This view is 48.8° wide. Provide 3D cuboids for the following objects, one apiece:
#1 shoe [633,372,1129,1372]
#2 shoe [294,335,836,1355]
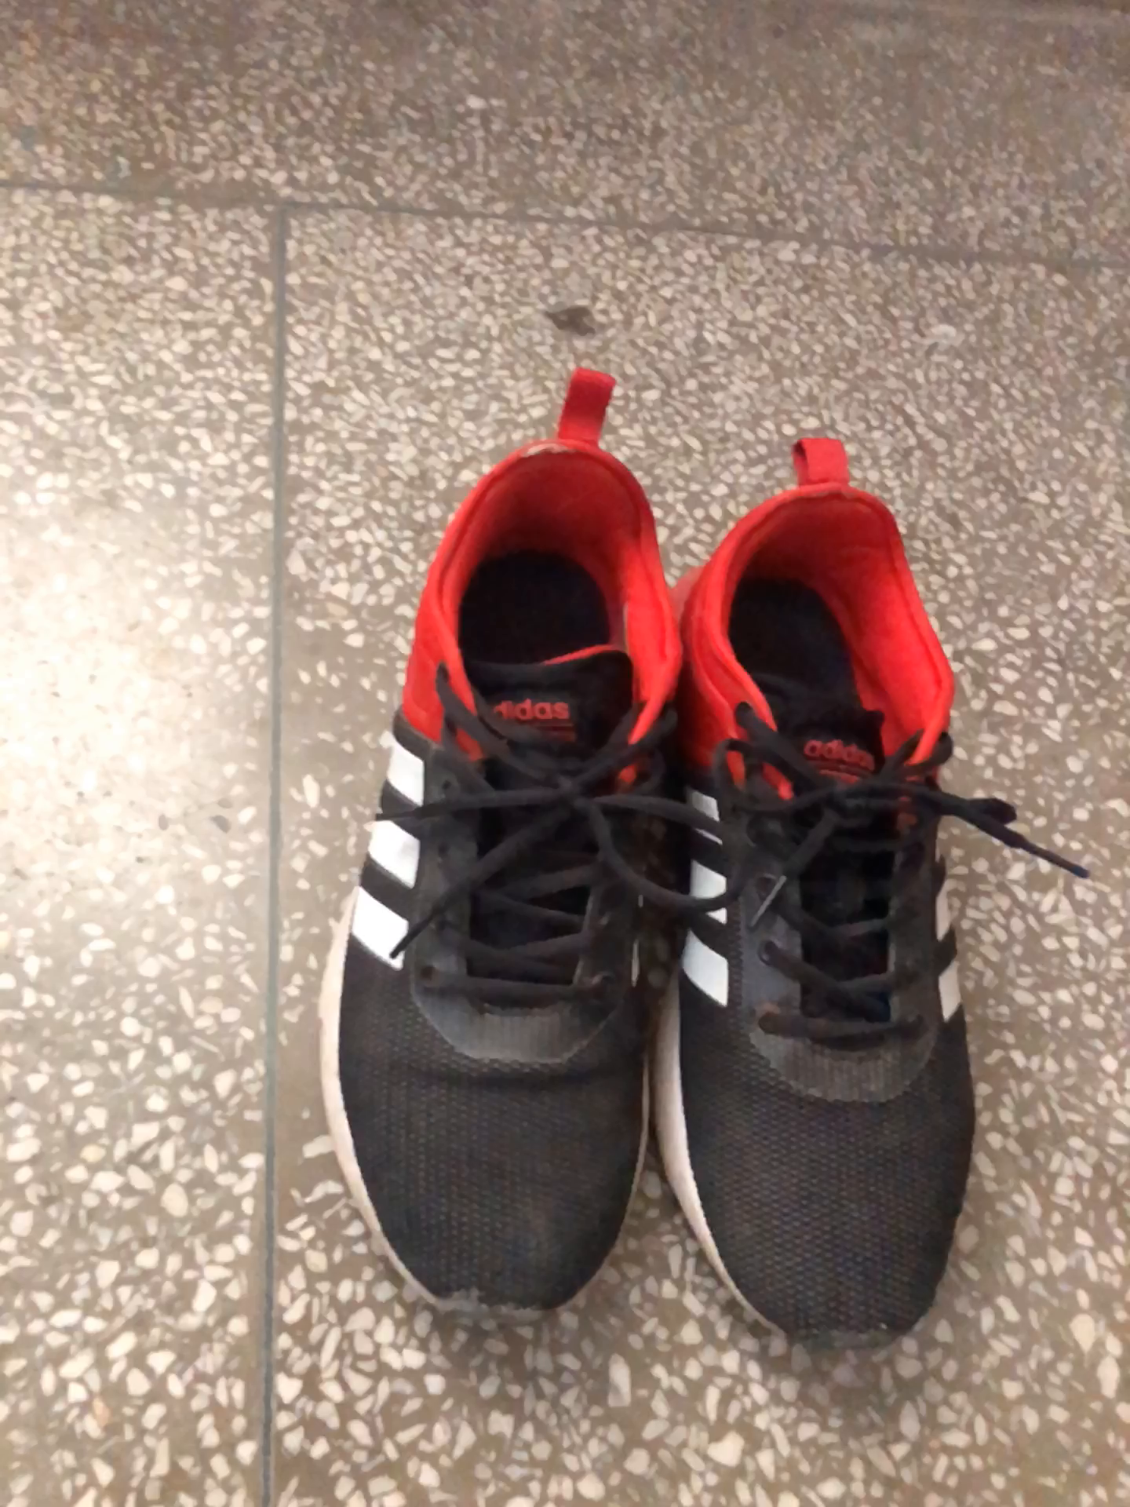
[{"bbox_3d":[0.103,0.039,0.450,0.130,0.140,0.320,6,60,-7],"label":"shoe"},{"bbox_3d":[-0.003,0.028,0.431,0.130,0.140,0.310,7,60,-7],"label":"shoe"}]
